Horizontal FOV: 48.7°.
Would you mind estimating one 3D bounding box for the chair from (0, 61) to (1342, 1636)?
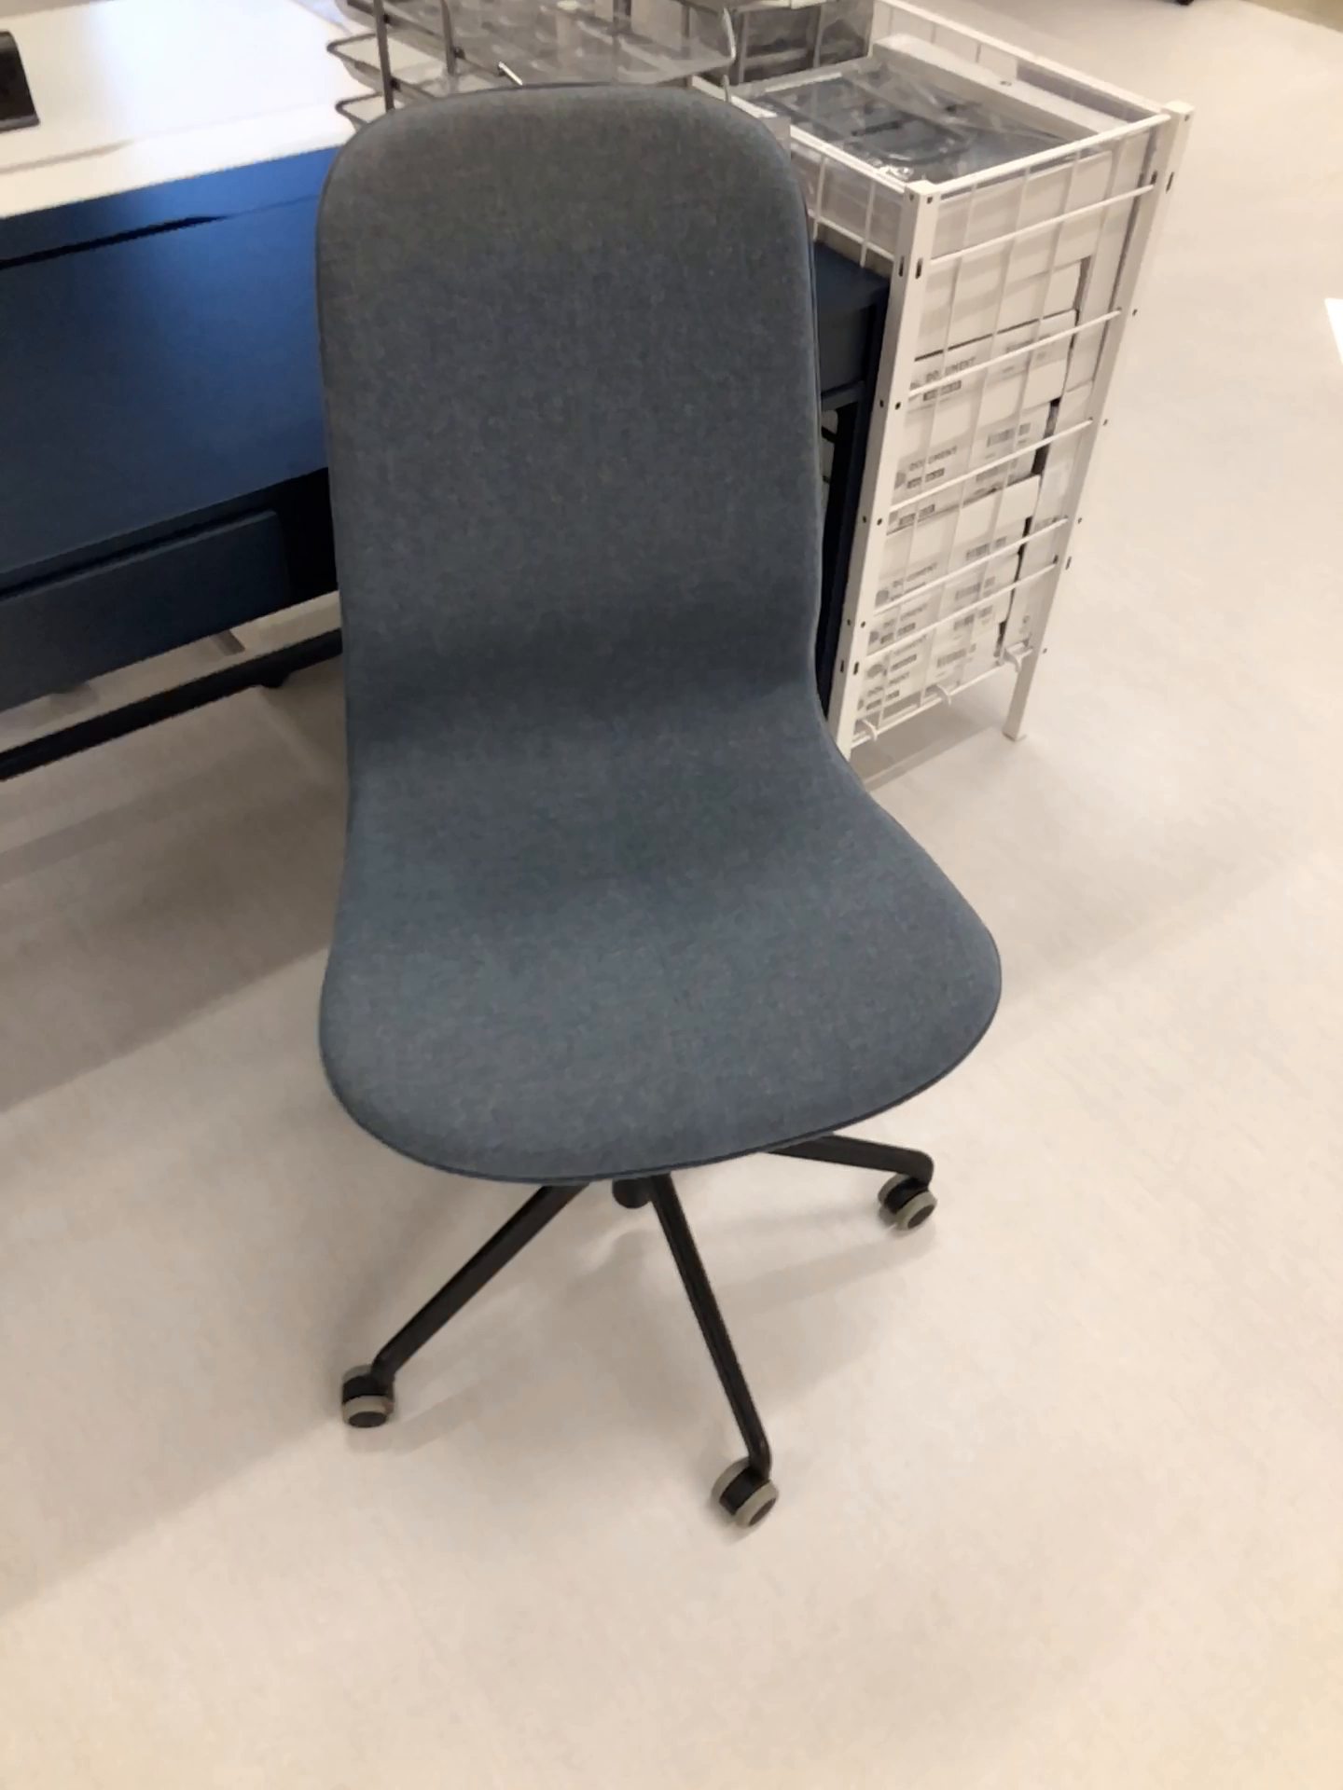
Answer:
[{"bbox_3d":[-0.024,-0.009,1.150,0.640,0.934,0.684,-8,47,-10],"label":"chair"}]
